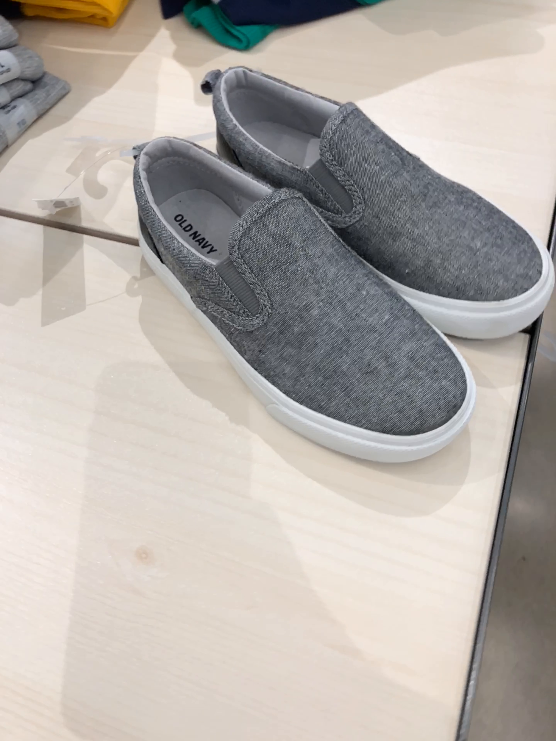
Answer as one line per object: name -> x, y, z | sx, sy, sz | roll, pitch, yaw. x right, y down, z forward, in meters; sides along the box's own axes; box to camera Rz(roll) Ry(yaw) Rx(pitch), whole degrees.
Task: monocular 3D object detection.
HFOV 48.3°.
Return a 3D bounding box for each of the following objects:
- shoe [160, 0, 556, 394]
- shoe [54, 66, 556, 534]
shoe -> 0.053, -0.098, 0.337 | 0.210, 0.100, 0.090 | 34, 69, 22
shoe -> 0.005, -0.040, 0.302 | 0.090, 0.100, 0.210 | -42, 65, -17
